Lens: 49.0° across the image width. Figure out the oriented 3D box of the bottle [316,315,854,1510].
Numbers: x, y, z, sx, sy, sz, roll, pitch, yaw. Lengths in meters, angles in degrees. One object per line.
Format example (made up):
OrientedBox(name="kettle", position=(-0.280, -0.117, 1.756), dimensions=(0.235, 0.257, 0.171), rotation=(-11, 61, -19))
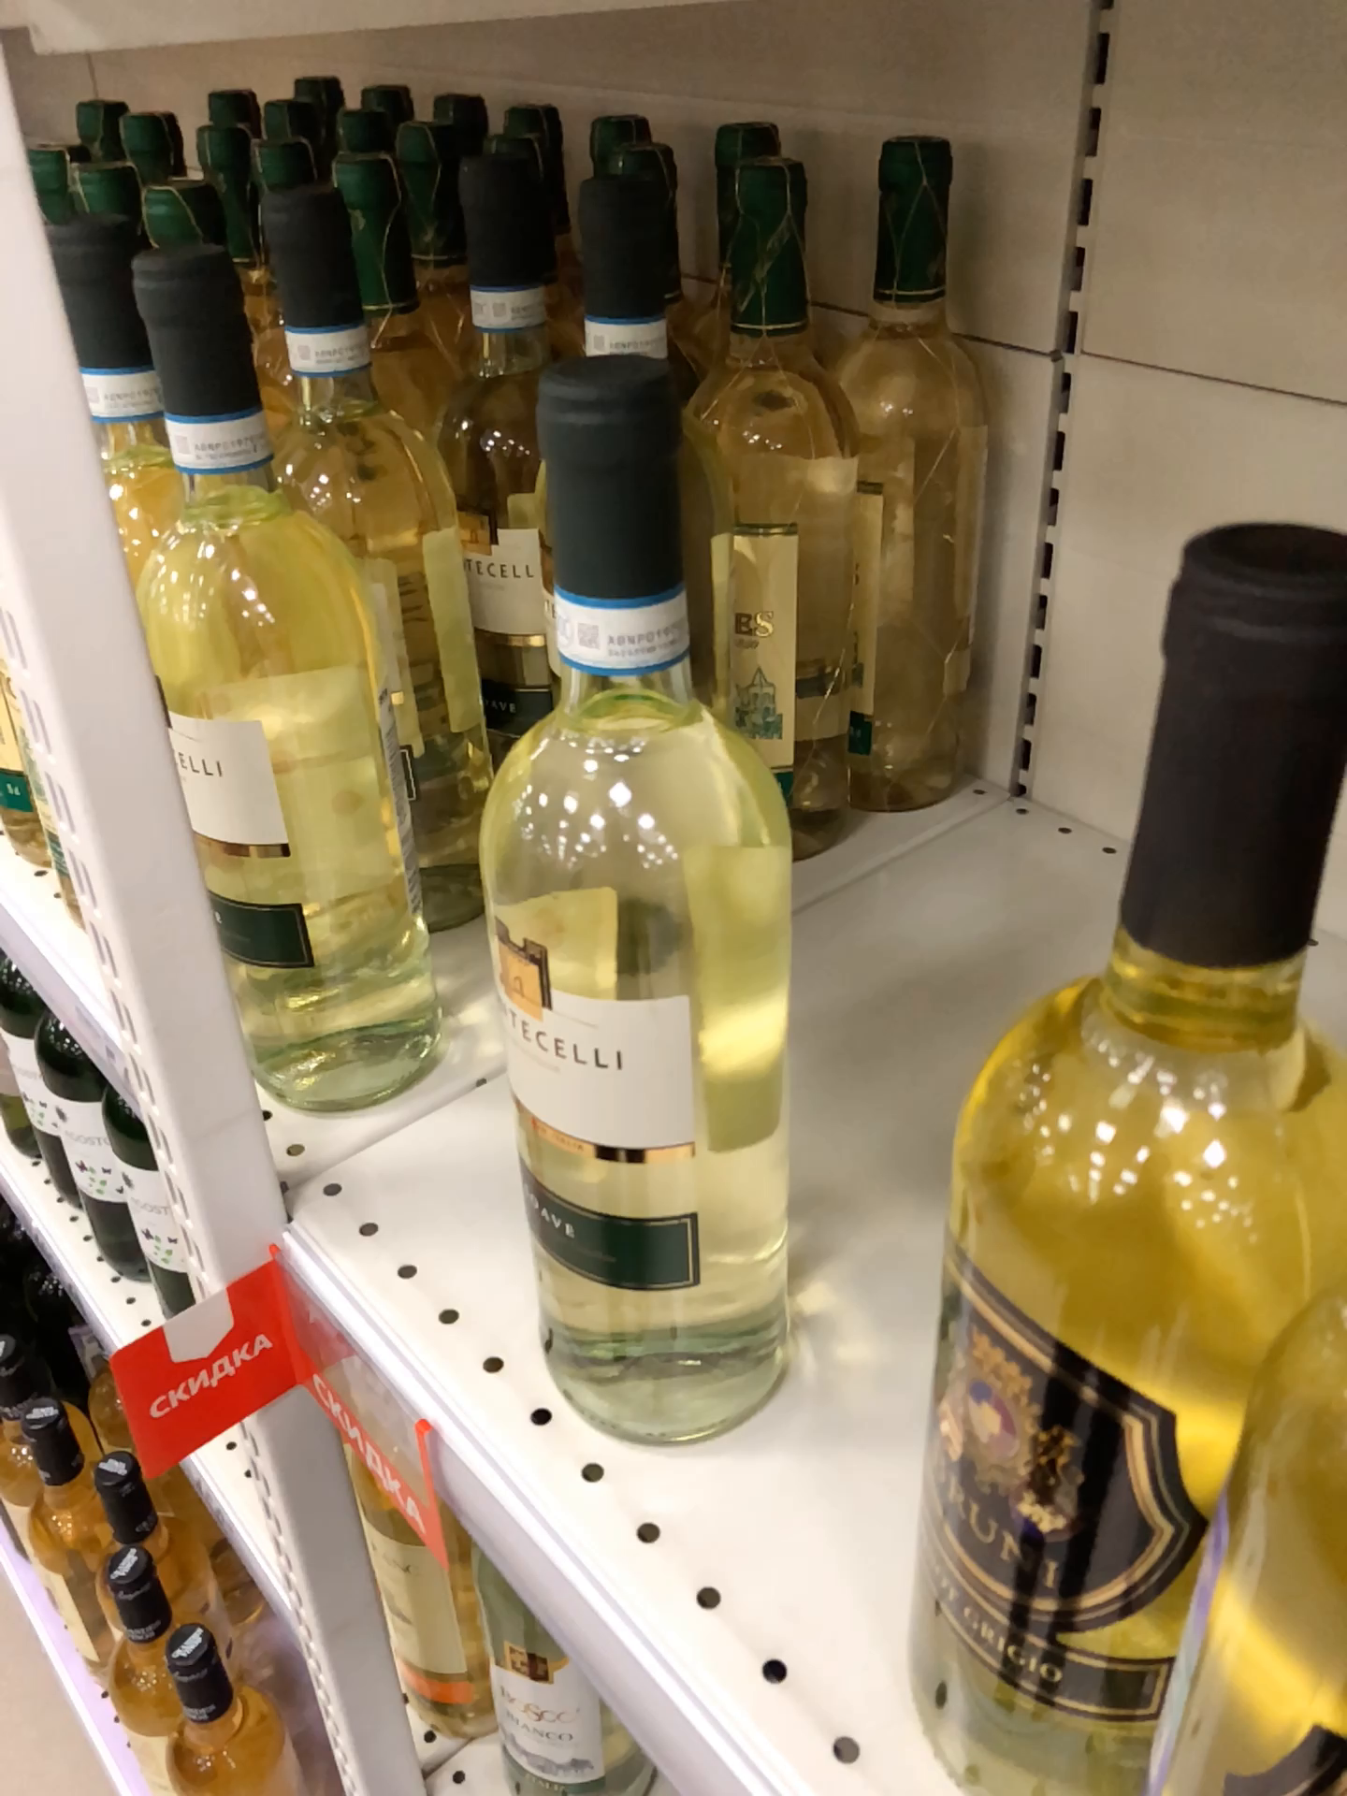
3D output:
OrientedBox(name="bottle", position=(-0.013, 0.017, 0.367), dimensions=(0.070, 0.284, 0.080), rotation=(-29, 41, -34))
